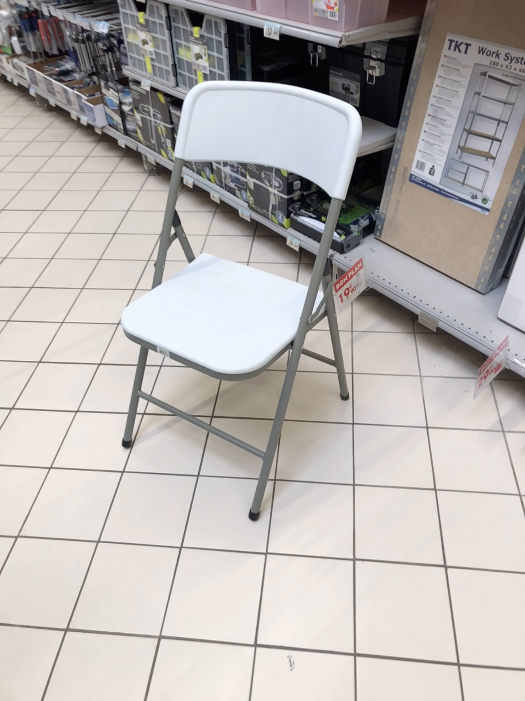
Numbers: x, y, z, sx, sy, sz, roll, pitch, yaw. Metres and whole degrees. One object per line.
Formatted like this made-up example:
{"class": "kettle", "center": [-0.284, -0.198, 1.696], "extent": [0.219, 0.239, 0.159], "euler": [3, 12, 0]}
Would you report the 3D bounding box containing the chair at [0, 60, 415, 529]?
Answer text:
{"class": "chair", "center": [-0.070, -0.145, 1.289], "extent": [0.540, 0.746, 0.563], "euler": [22, 47, 26]}
